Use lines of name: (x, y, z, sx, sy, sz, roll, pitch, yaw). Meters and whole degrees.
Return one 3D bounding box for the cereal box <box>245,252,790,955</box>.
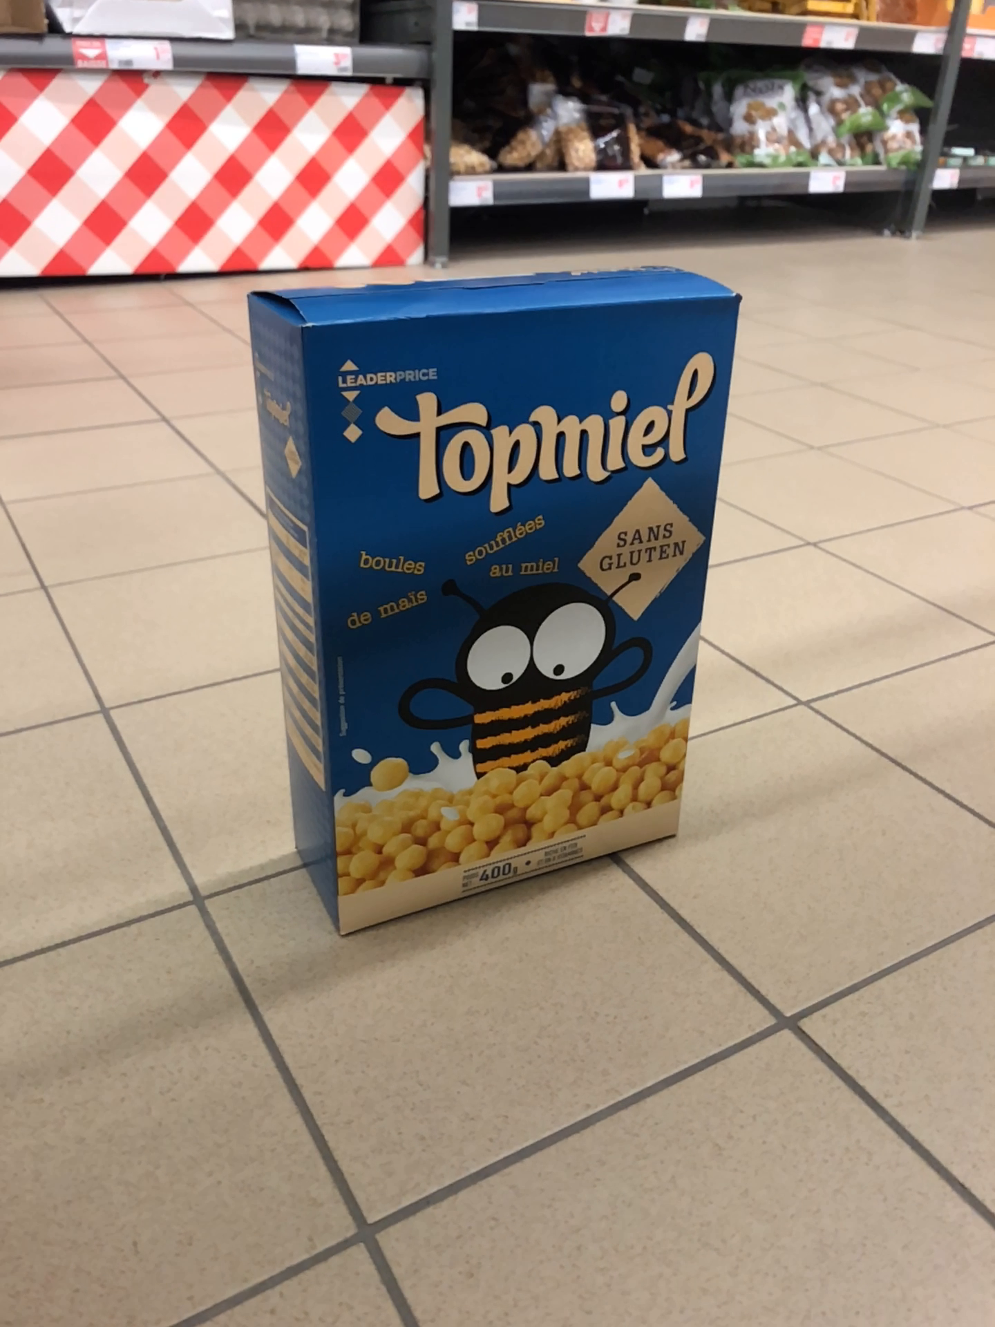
cereal box: (0.006, -0.029, 0.497, 0.201, 0.278, 0.080, -12, 32, -24)
